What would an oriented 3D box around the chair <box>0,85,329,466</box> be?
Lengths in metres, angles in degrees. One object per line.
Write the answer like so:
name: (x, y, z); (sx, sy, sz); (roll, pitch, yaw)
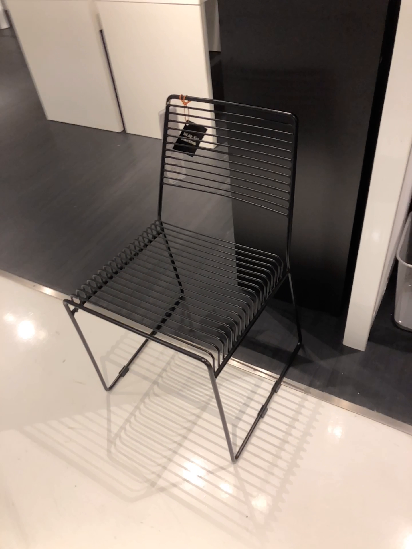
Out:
chair: (-0.043, 0.003, 1.209); (0.521, 0.764, 0.503); (19, 50, 26)
